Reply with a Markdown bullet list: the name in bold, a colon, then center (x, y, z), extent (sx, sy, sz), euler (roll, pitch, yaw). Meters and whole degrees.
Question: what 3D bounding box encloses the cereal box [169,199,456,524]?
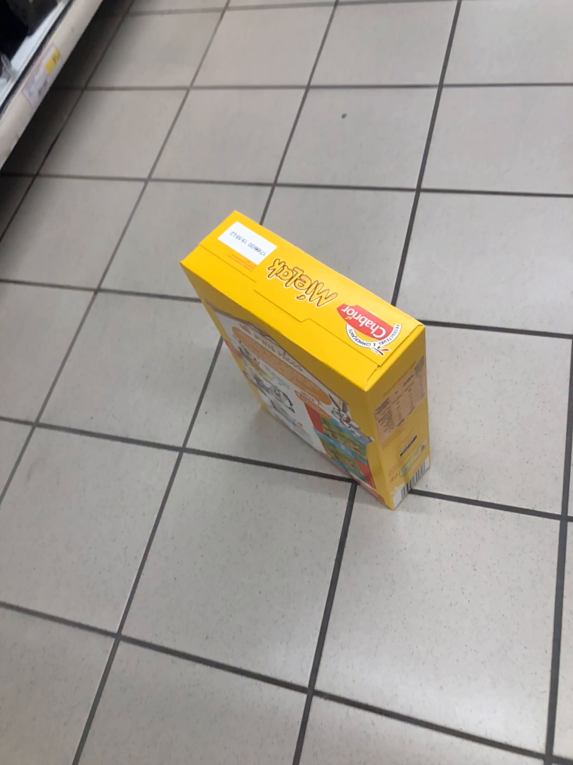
- **cereal box**: center (0.036, -0.004, 0.553), extent (0.210, 0.259, 0.070), euler (35, 75, 27)
